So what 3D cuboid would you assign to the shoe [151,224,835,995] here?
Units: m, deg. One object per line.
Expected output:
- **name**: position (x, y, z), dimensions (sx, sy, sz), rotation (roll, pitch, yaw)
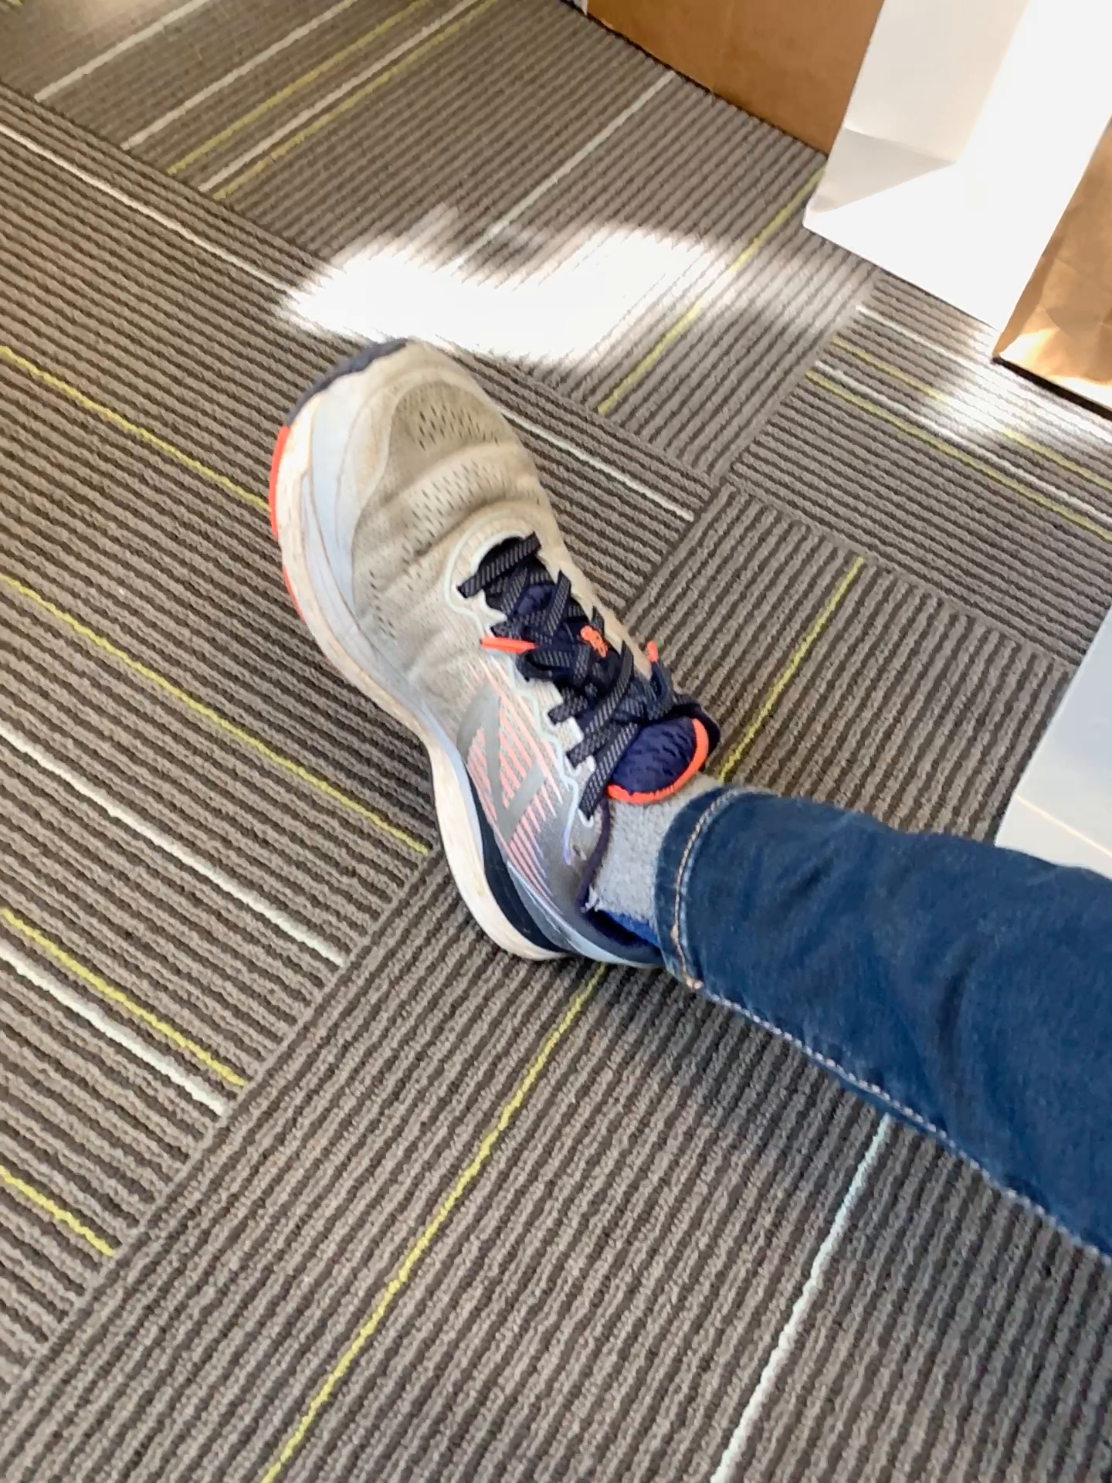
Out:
- **shoe**: position (-0.019, -0.041, 0.429), dimensions (0.120, 0.110, 0.230), rotation (-41, 112, -24)
